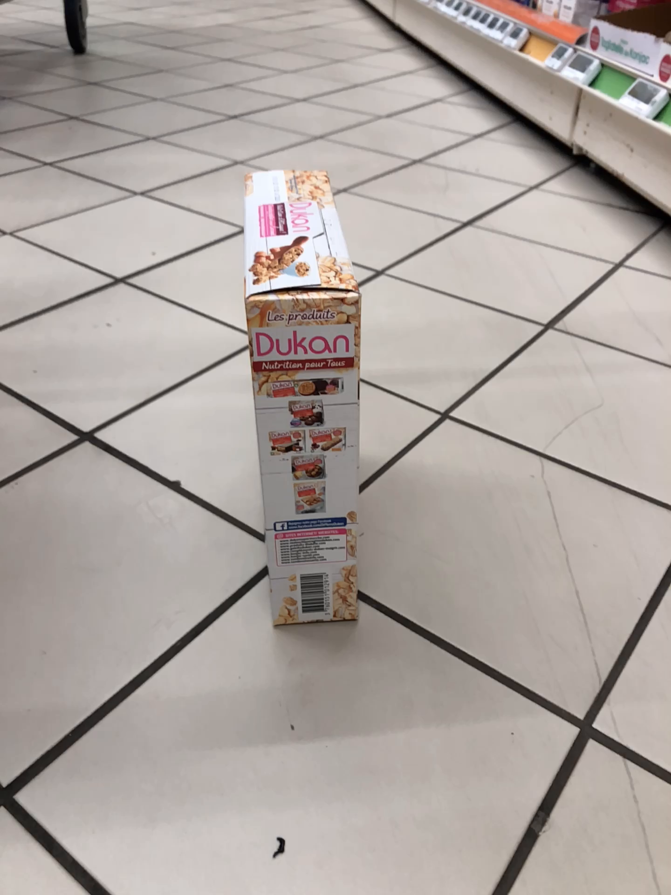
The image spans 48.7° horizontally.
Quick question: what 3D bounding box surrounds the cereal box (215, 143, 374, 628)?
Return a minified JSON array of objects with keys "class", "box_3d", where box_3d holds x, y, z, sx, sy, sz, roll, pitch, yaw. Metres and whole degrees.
[{"class":"cereal box","box_3d":[-0.026,-0.041,0.416,0.060,0.199,0.191,-2,36,-5]}]
